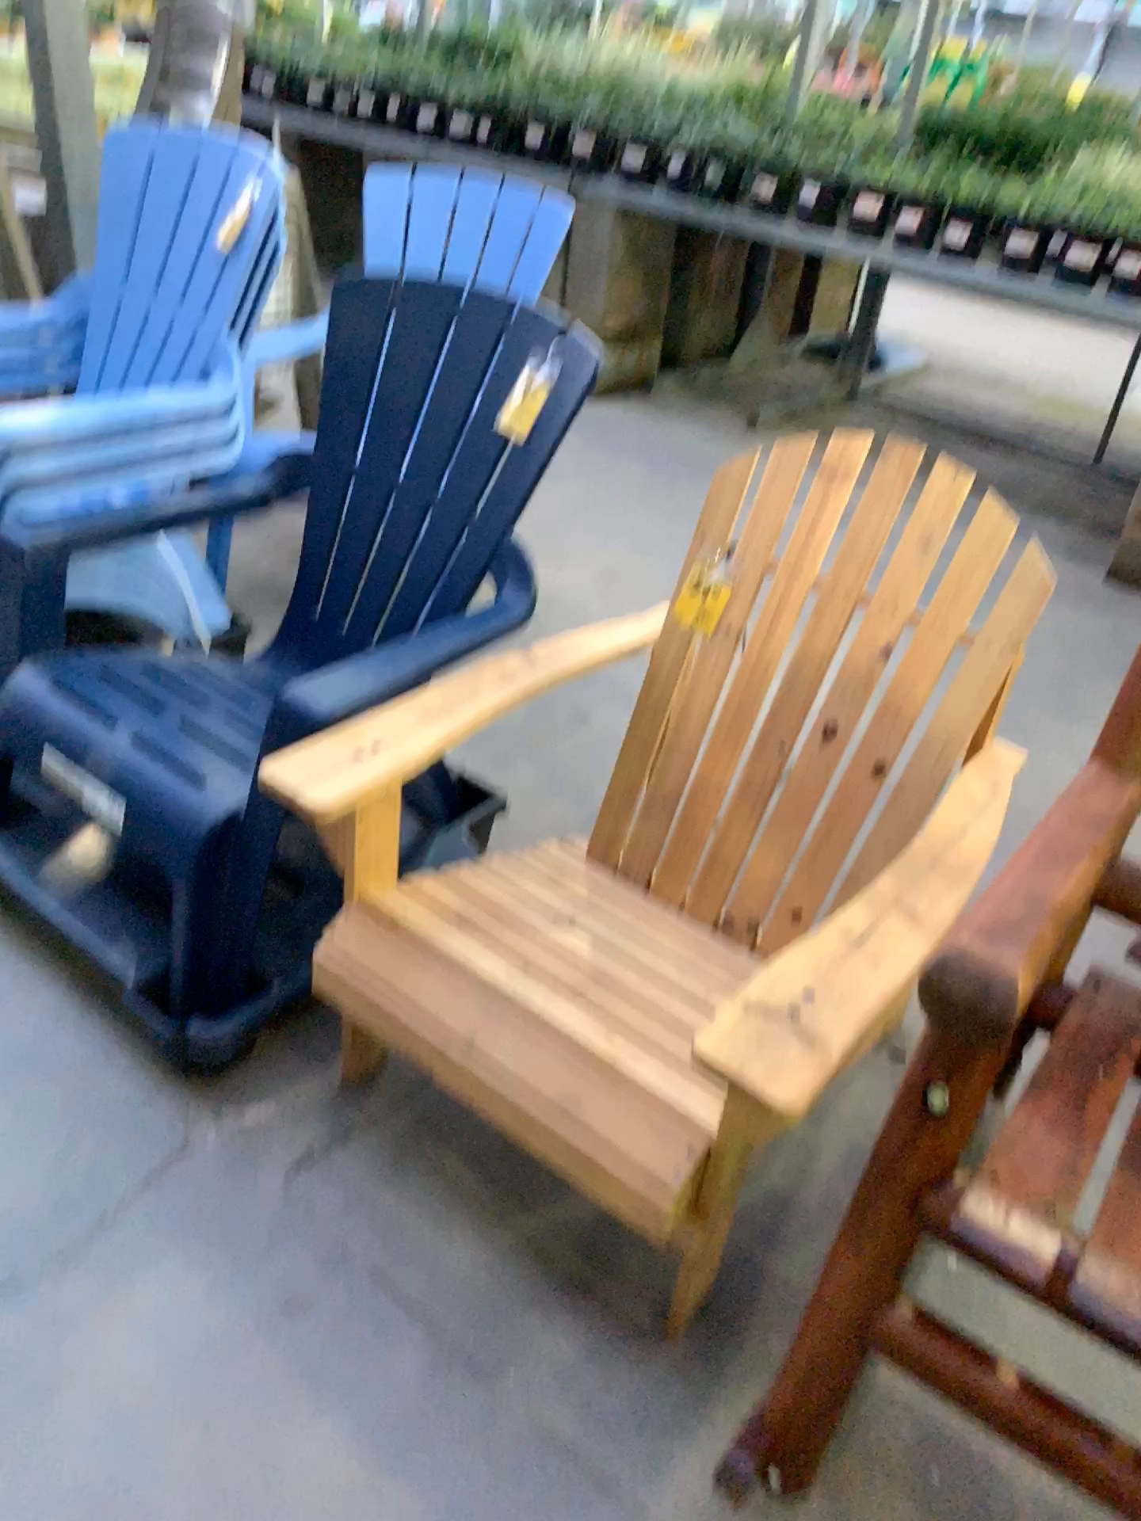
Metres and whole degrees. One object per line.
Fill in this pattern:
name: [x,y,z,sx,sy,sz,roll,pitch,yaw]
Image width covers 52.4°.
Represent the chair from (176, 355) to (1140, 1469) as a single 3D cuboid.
chair: [0.135,0.084,1.500,0.728,0.886,0.894,27,39,28]
